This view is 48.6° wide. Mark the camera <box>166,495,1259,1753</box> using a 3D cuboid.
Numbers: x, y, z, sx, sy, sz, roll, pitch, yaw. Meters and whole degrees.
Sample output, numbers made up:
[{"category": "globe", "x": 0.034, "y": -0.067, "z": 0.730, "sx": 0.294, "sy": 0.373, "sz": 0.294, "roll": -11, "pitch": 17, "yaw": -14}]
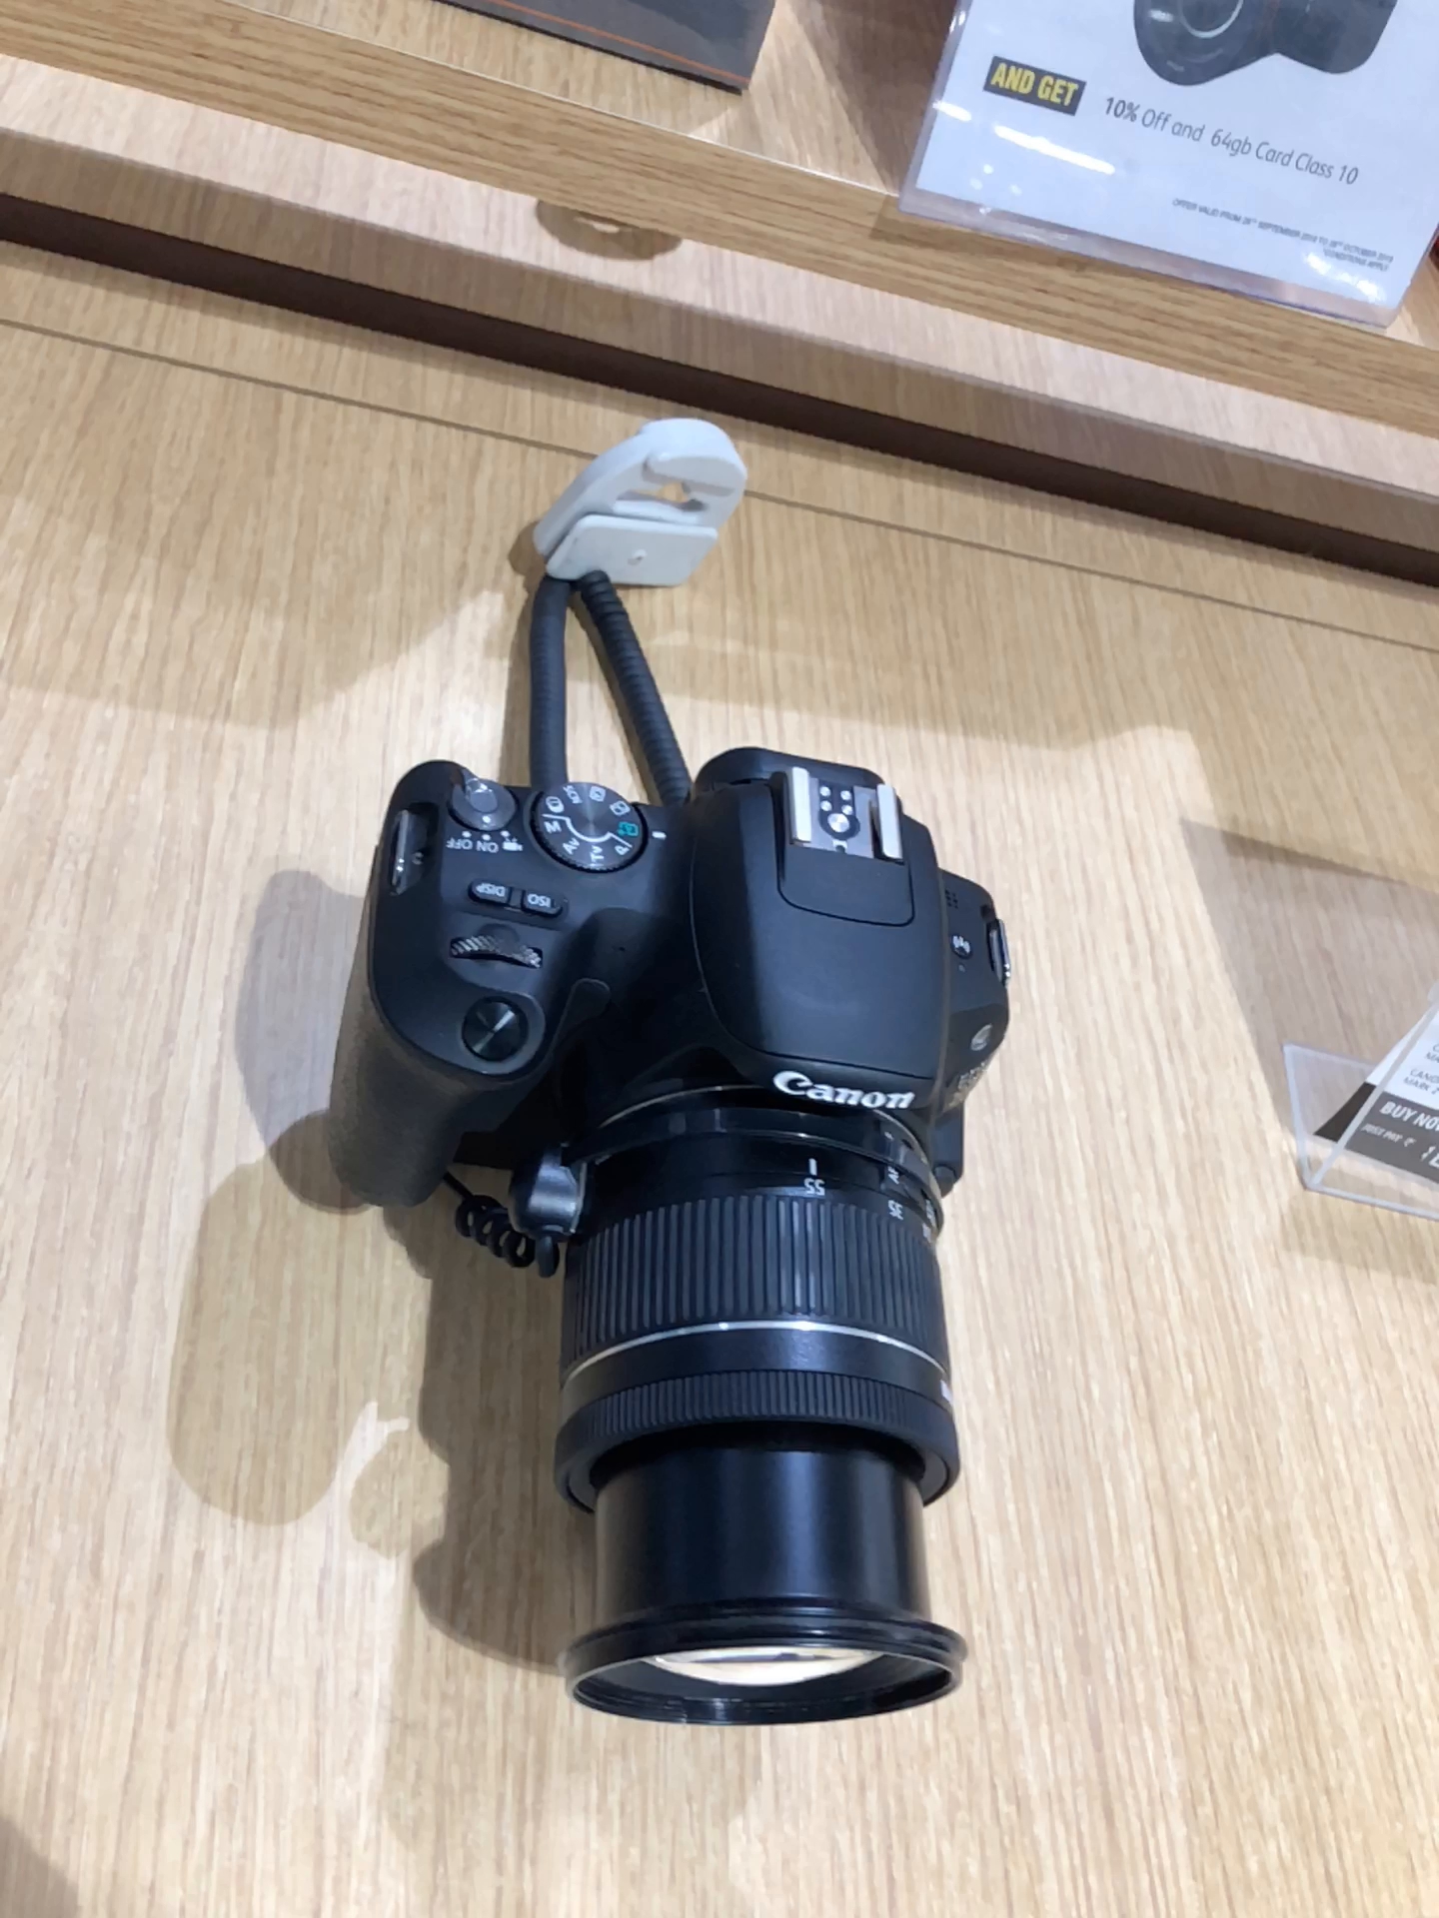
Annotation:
[{"category": "camera", "x": -0.011, "y": 0.030, "z": 0.256, "sx": 0.120, "sy": 0.099, "sz": 0.161, "roll": 9, "pitch": 53, "yaw": -15}]
